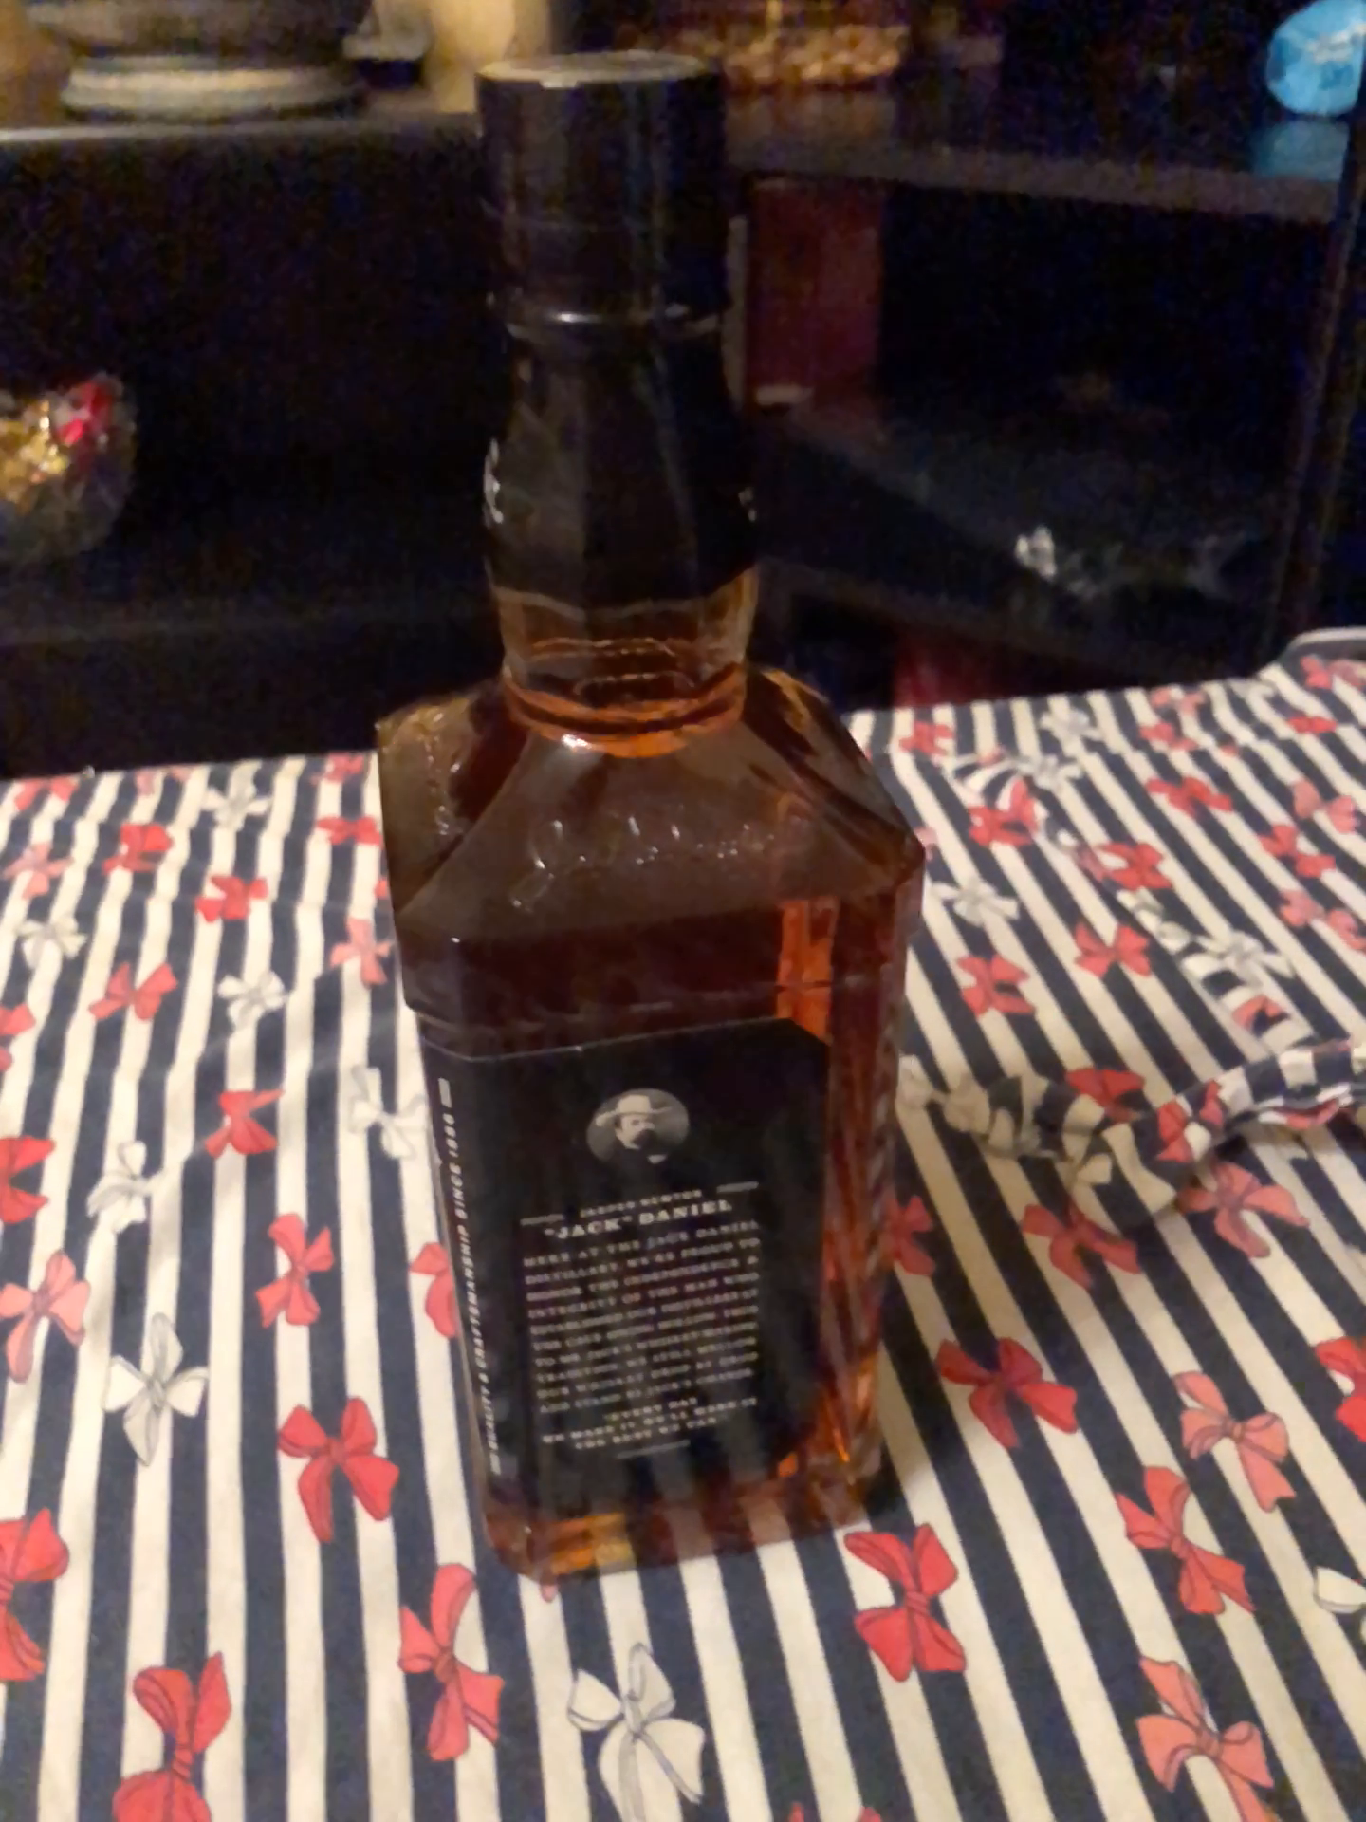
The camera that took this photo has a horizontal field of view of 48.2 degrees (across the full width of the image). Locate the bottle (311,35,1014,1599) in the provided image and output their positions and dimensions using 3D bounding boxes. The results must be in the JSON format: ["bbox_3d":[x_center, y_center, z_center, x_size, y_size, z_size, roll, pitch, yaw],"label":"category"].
[{"bbox_3d":[-0.006,0.000,0.253,0.073,0.246,0.075,-1,33,0],"label":"bottle"}]
